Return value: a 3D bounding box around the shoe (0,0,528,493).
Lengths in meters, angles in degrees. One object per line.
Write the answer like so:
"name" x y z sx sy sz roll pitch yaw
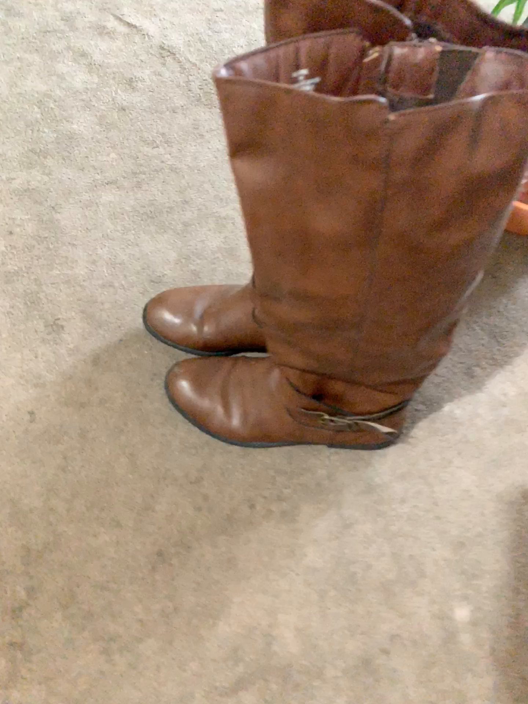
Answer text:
"shoe" 0.011 -0.030 0.414 0.270 0.398 0.121 11 62 7

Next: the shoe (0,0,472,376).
"shoe" -0.024 -0.123 0.443 0.260 0.368 0.111 5 62 4
